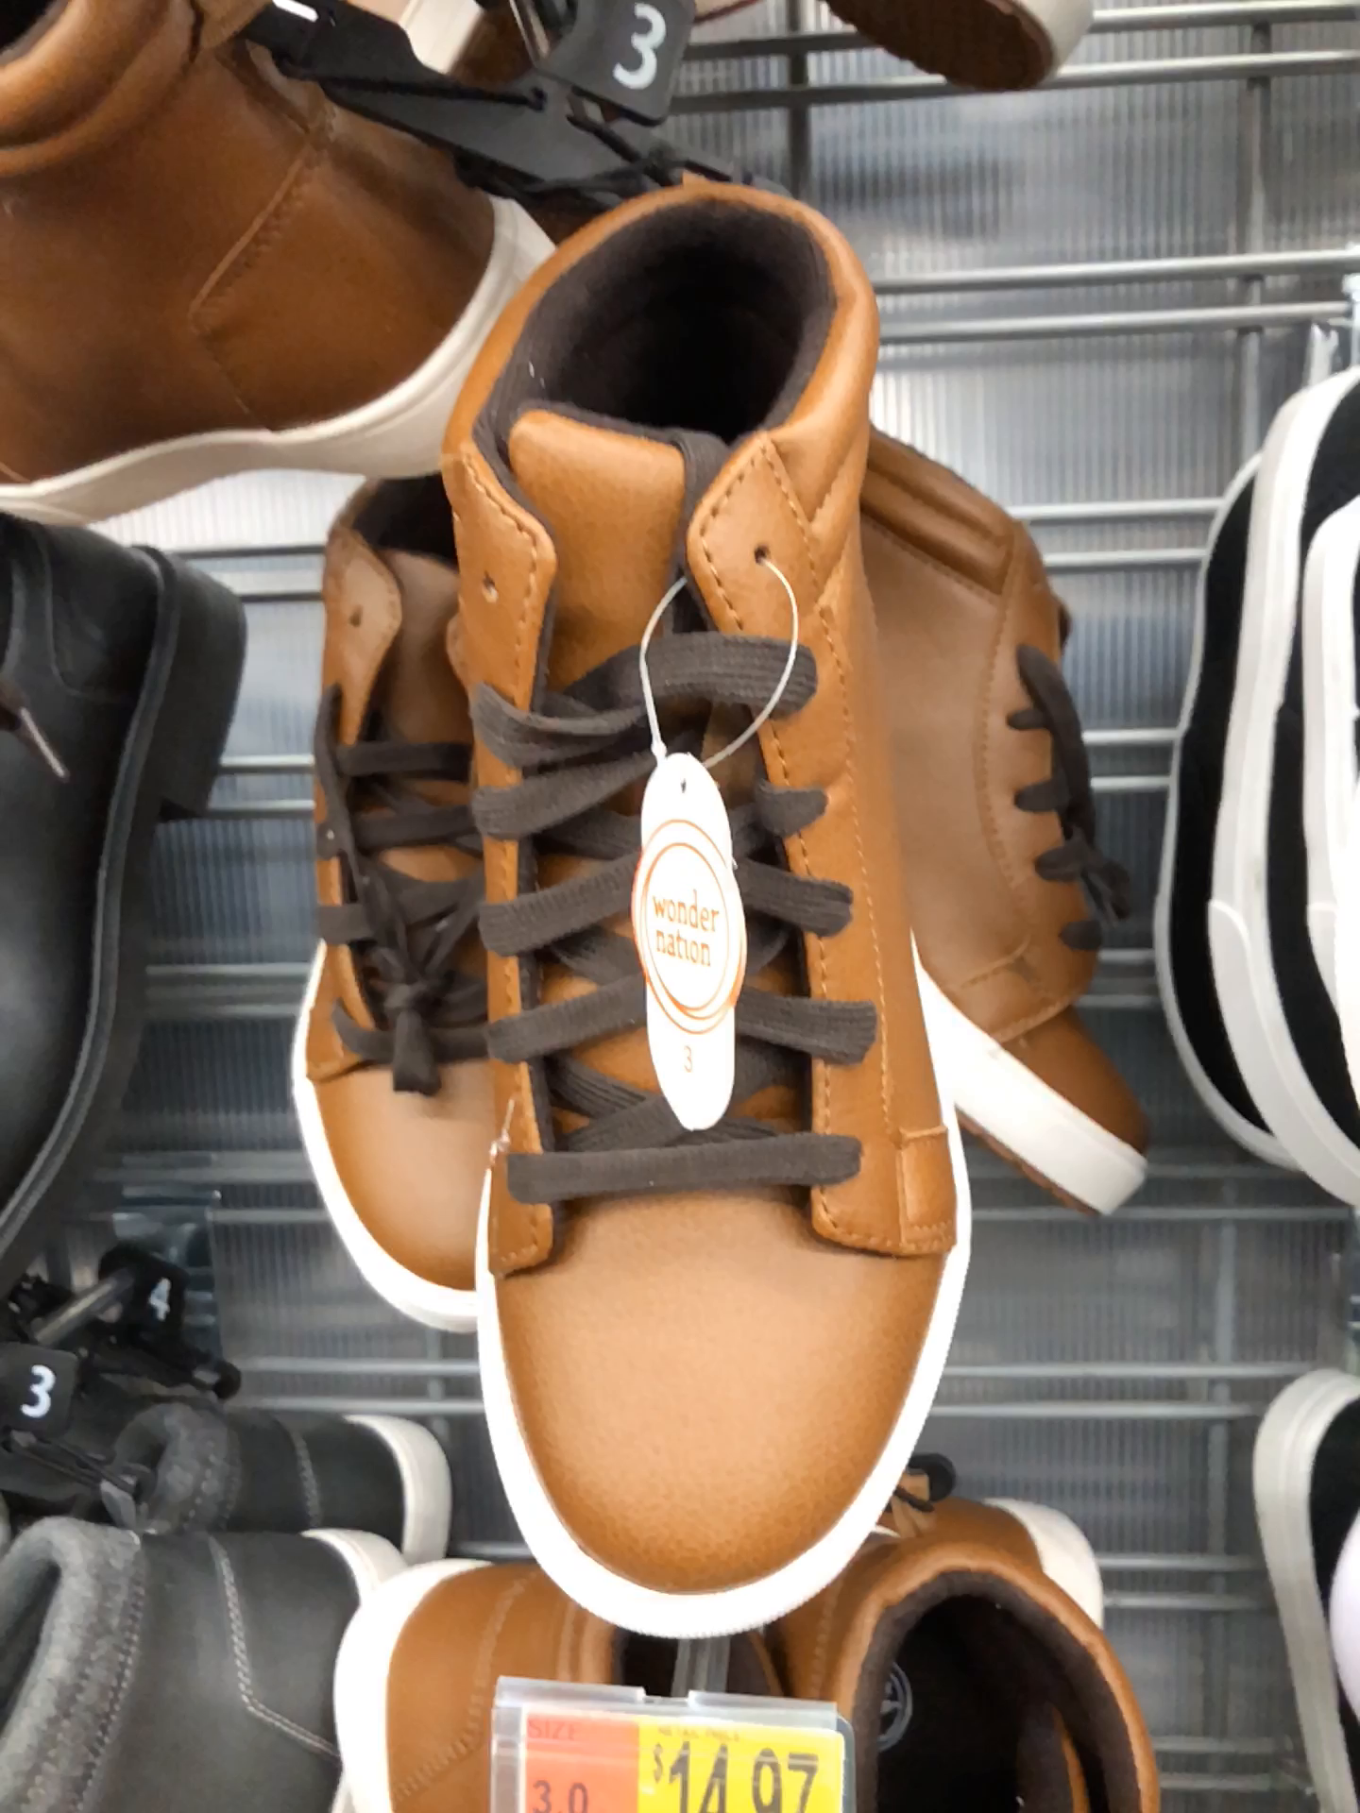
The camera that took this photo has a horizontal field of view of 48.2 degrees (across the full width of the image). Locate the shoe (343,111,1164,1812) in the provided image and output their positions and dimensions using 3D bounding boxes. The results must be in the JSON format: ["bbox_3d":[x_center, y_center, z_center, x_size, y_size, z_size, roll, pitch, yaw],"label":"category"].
[{"bbox_3d":[0.005,0.006,0.255,0.096,0.227,0.110,-2,-12,0],"label":"shoe"}]
